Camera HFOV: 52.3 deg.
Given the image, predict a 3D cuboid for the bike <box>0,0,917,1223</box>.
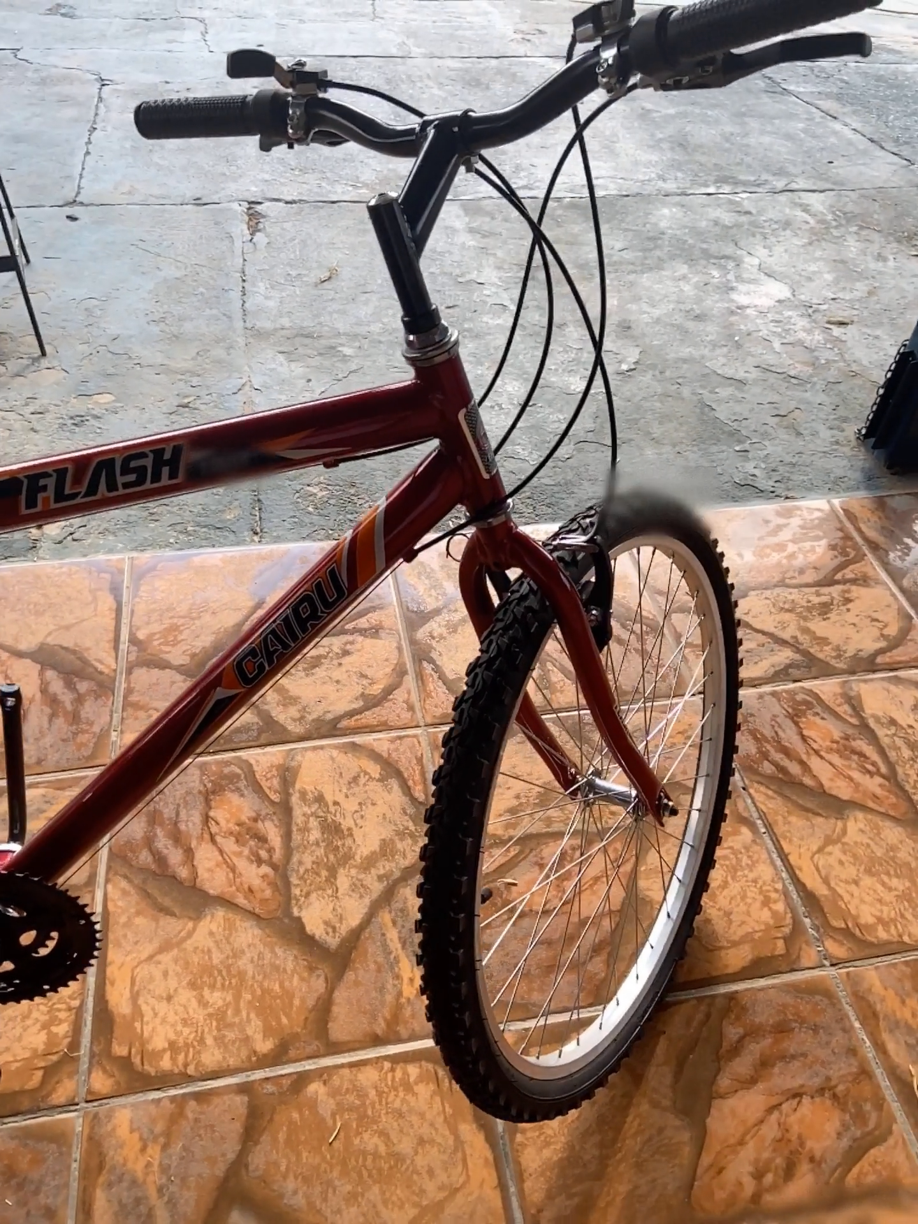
[{"bbox_3d":[-0.408,0.000,0.895,1.558,0.985,0.601,-9,48,-15],"label":"bike"}]
